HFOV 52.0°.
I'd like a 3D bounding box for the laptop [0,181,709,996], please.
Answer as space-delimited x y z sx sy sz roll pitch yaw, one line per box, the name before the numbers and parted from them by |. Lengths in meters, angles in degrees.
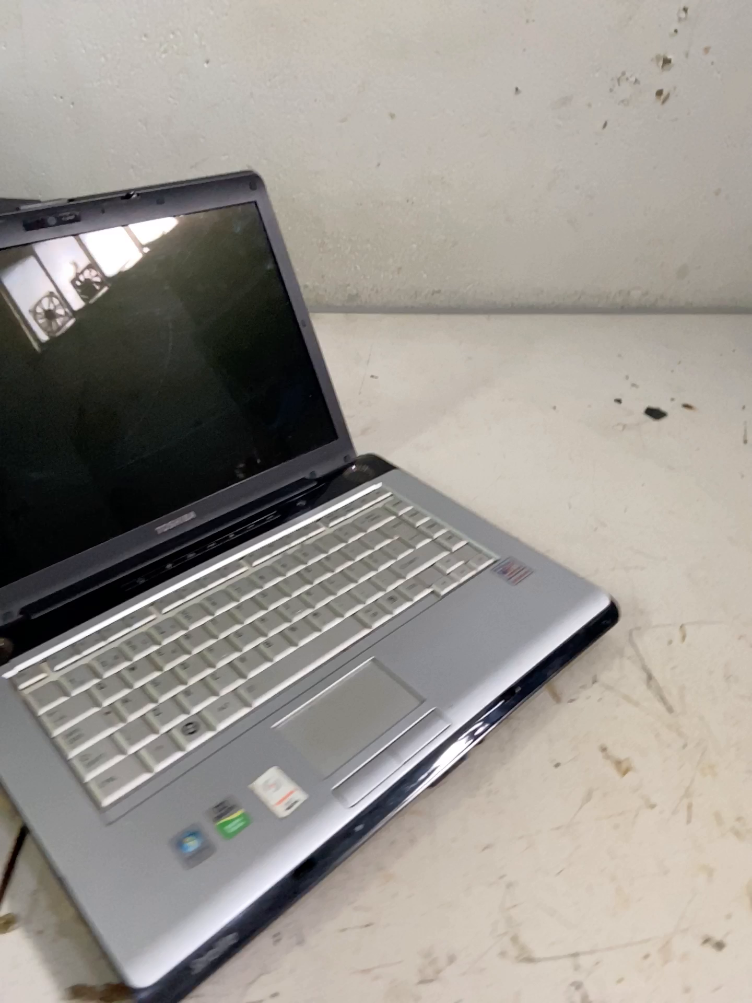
laptop | -0.092 -0.028 0.479 0.352 0.200 0.394 -27 45 -35
